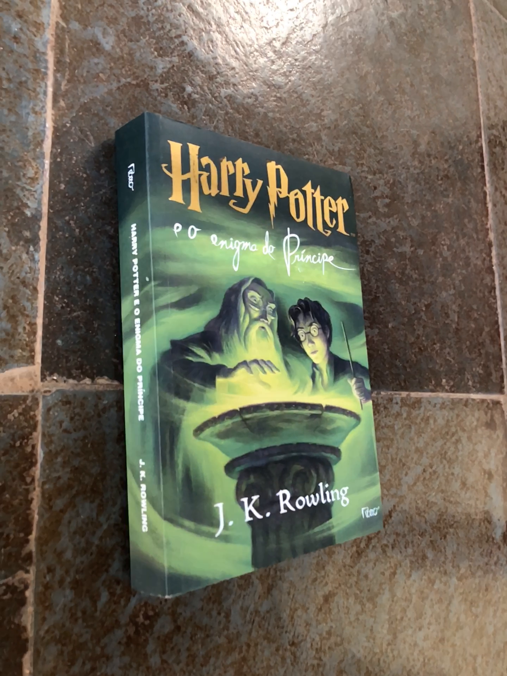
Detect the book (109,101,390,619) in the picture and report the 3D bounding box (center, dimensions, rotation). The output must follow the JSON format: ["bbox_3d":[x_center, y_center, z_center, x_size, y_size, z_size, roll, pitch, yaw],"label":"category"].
[{"bbox_3d":[0.004,0.008,0.275,0.143,0.030,0.200,3,81,-41],"label":"book"}]
